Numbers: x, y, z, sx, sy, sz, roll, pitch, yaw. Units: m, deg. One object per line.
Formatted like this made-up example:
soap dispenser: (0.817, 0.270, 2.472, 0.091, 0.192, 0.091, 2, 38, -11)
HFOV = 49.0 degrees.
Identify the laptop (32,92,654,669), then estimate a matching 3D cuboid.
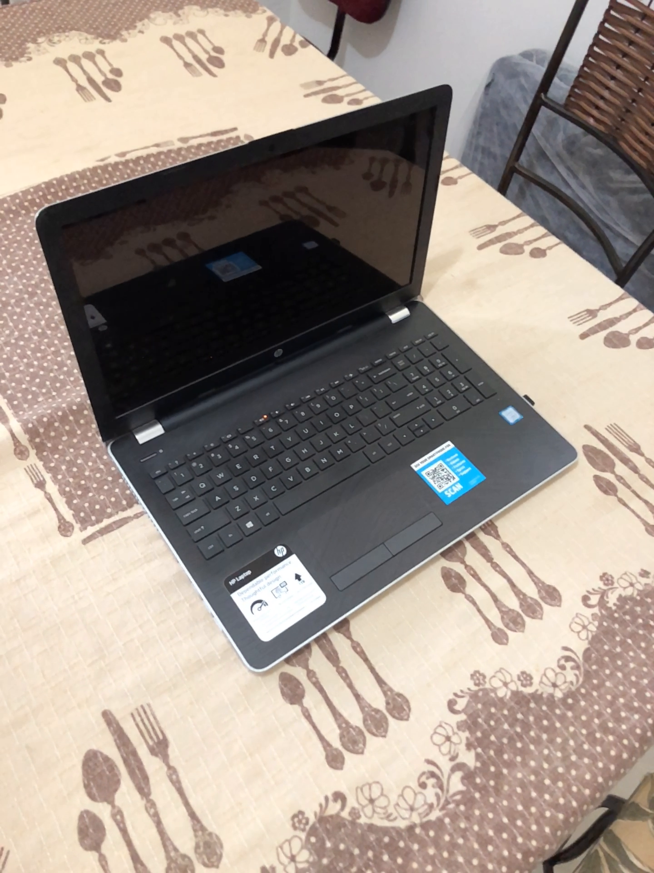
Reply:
laptop: (0.024, -0.061, 0.569, 0.361, 0.226, 0.268, -28, 62, -25)
